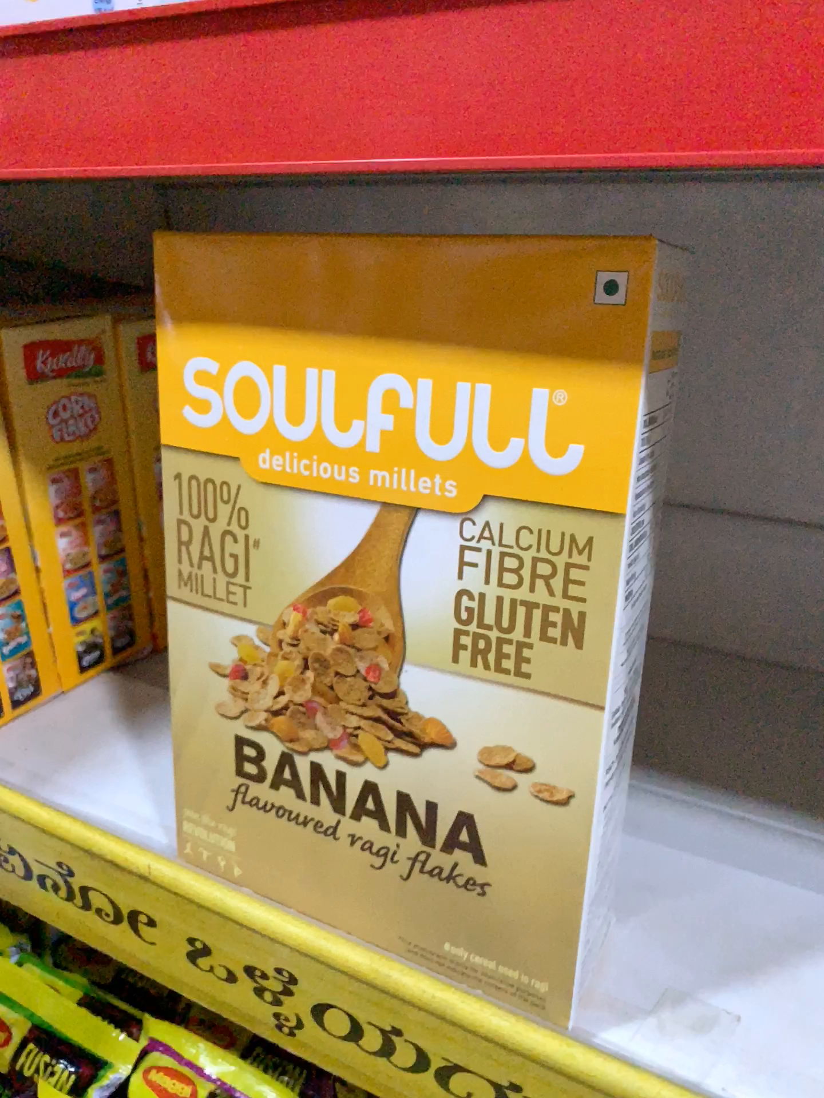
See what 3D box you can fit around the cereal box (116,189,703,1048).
[{"bbox_3d":[-0.009,0.012,0.278,0.160,0.229,0.060,10,17,26],"label":"cereal box"}]
